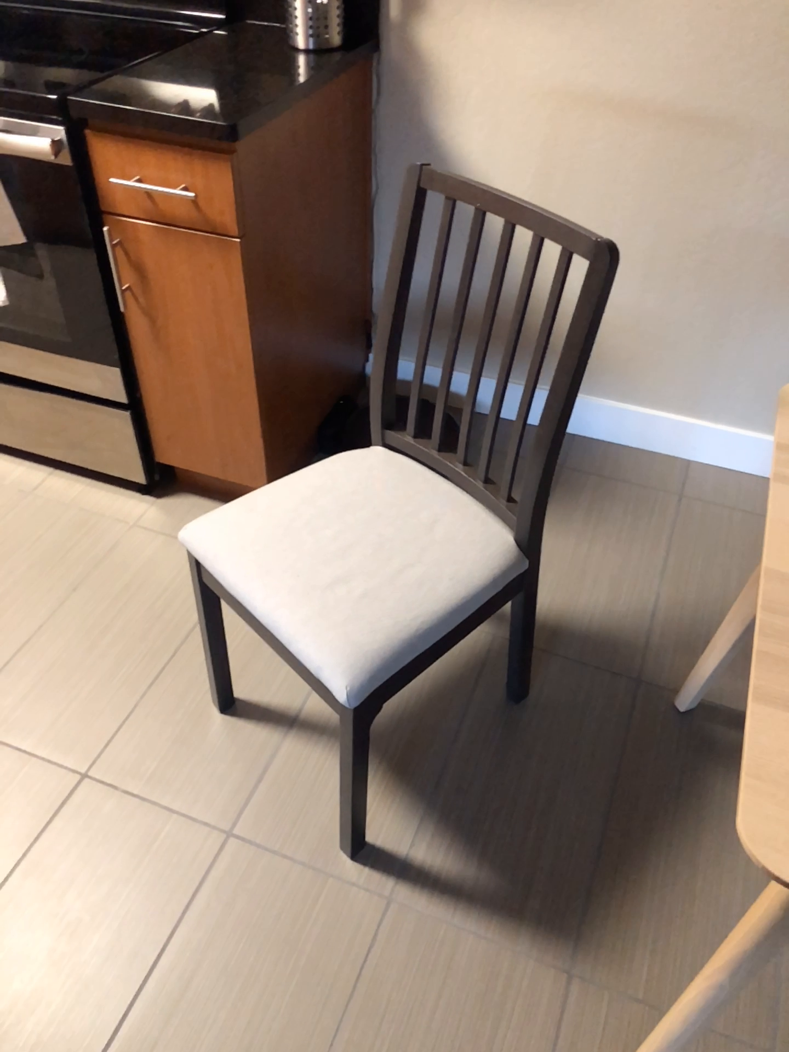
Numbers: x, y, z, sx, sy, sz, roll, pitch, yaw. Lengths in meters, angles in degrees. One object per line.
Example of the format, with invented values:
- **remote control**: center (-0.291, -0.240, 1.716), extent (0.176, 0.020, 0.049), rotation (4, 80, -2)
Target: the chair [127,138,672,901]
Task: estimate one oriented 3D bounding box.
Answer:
- **chair**: center (-0.012, 0.038, 1.483), extent (0.511, 1.125, 0.482), rotation (-26, 49, -28)
